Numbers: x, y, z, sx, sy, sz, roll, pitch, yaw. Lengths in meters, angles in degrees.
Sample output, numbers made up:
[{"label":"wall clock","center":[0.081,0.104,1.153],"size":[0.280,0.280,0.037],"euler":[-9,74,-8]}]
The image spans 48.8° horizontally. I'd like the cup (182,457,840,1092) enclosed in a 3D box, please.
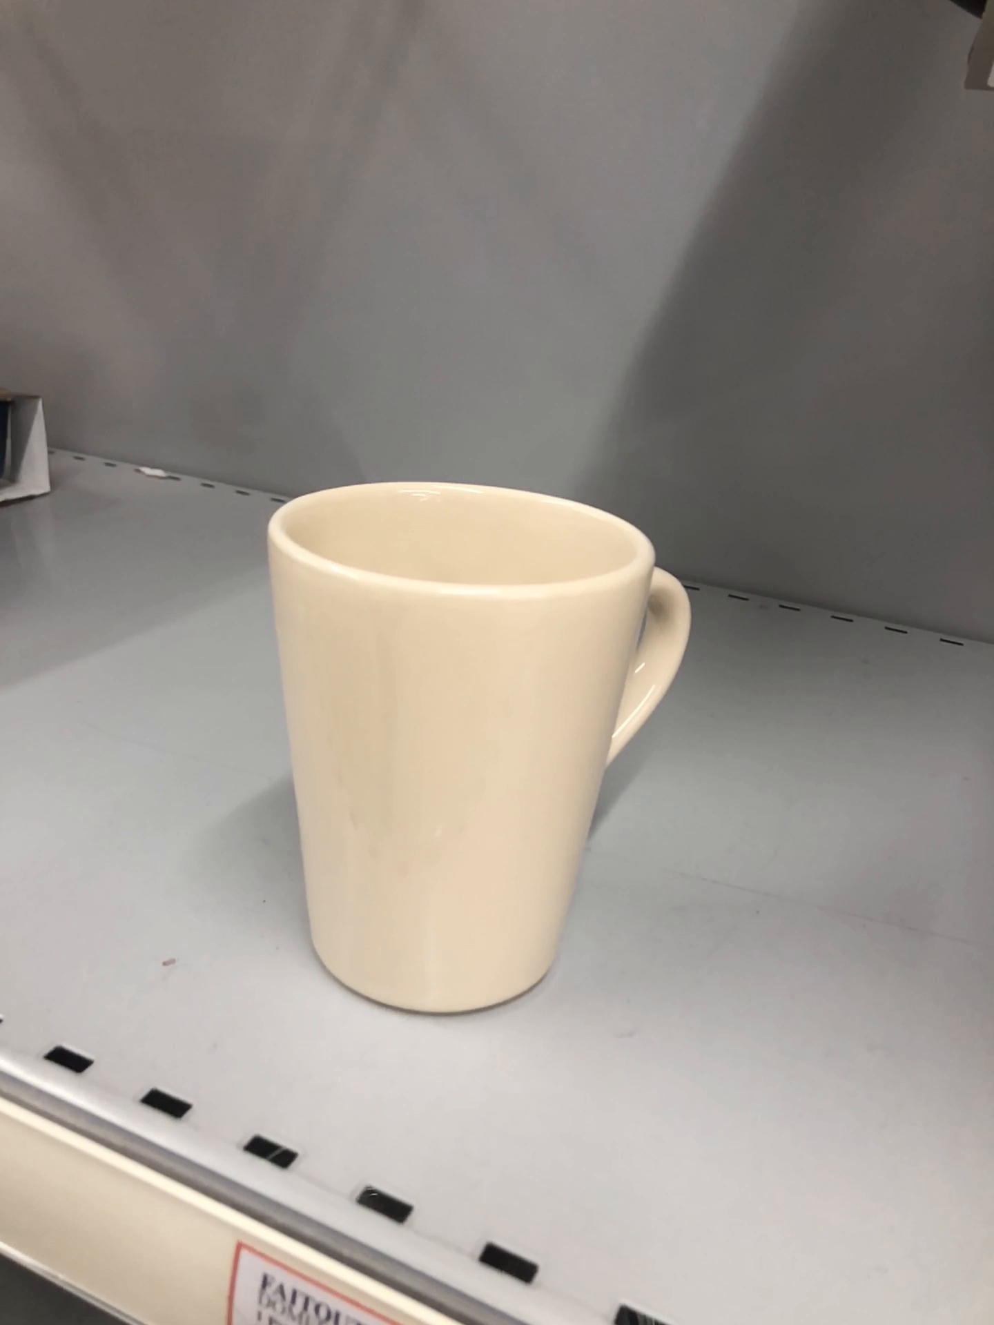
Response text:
[{"label":"cup","center":[0.000,0.014,0.259],"size":[0.120,0.099,0.082],"euler":[-11,27,-33]}]
